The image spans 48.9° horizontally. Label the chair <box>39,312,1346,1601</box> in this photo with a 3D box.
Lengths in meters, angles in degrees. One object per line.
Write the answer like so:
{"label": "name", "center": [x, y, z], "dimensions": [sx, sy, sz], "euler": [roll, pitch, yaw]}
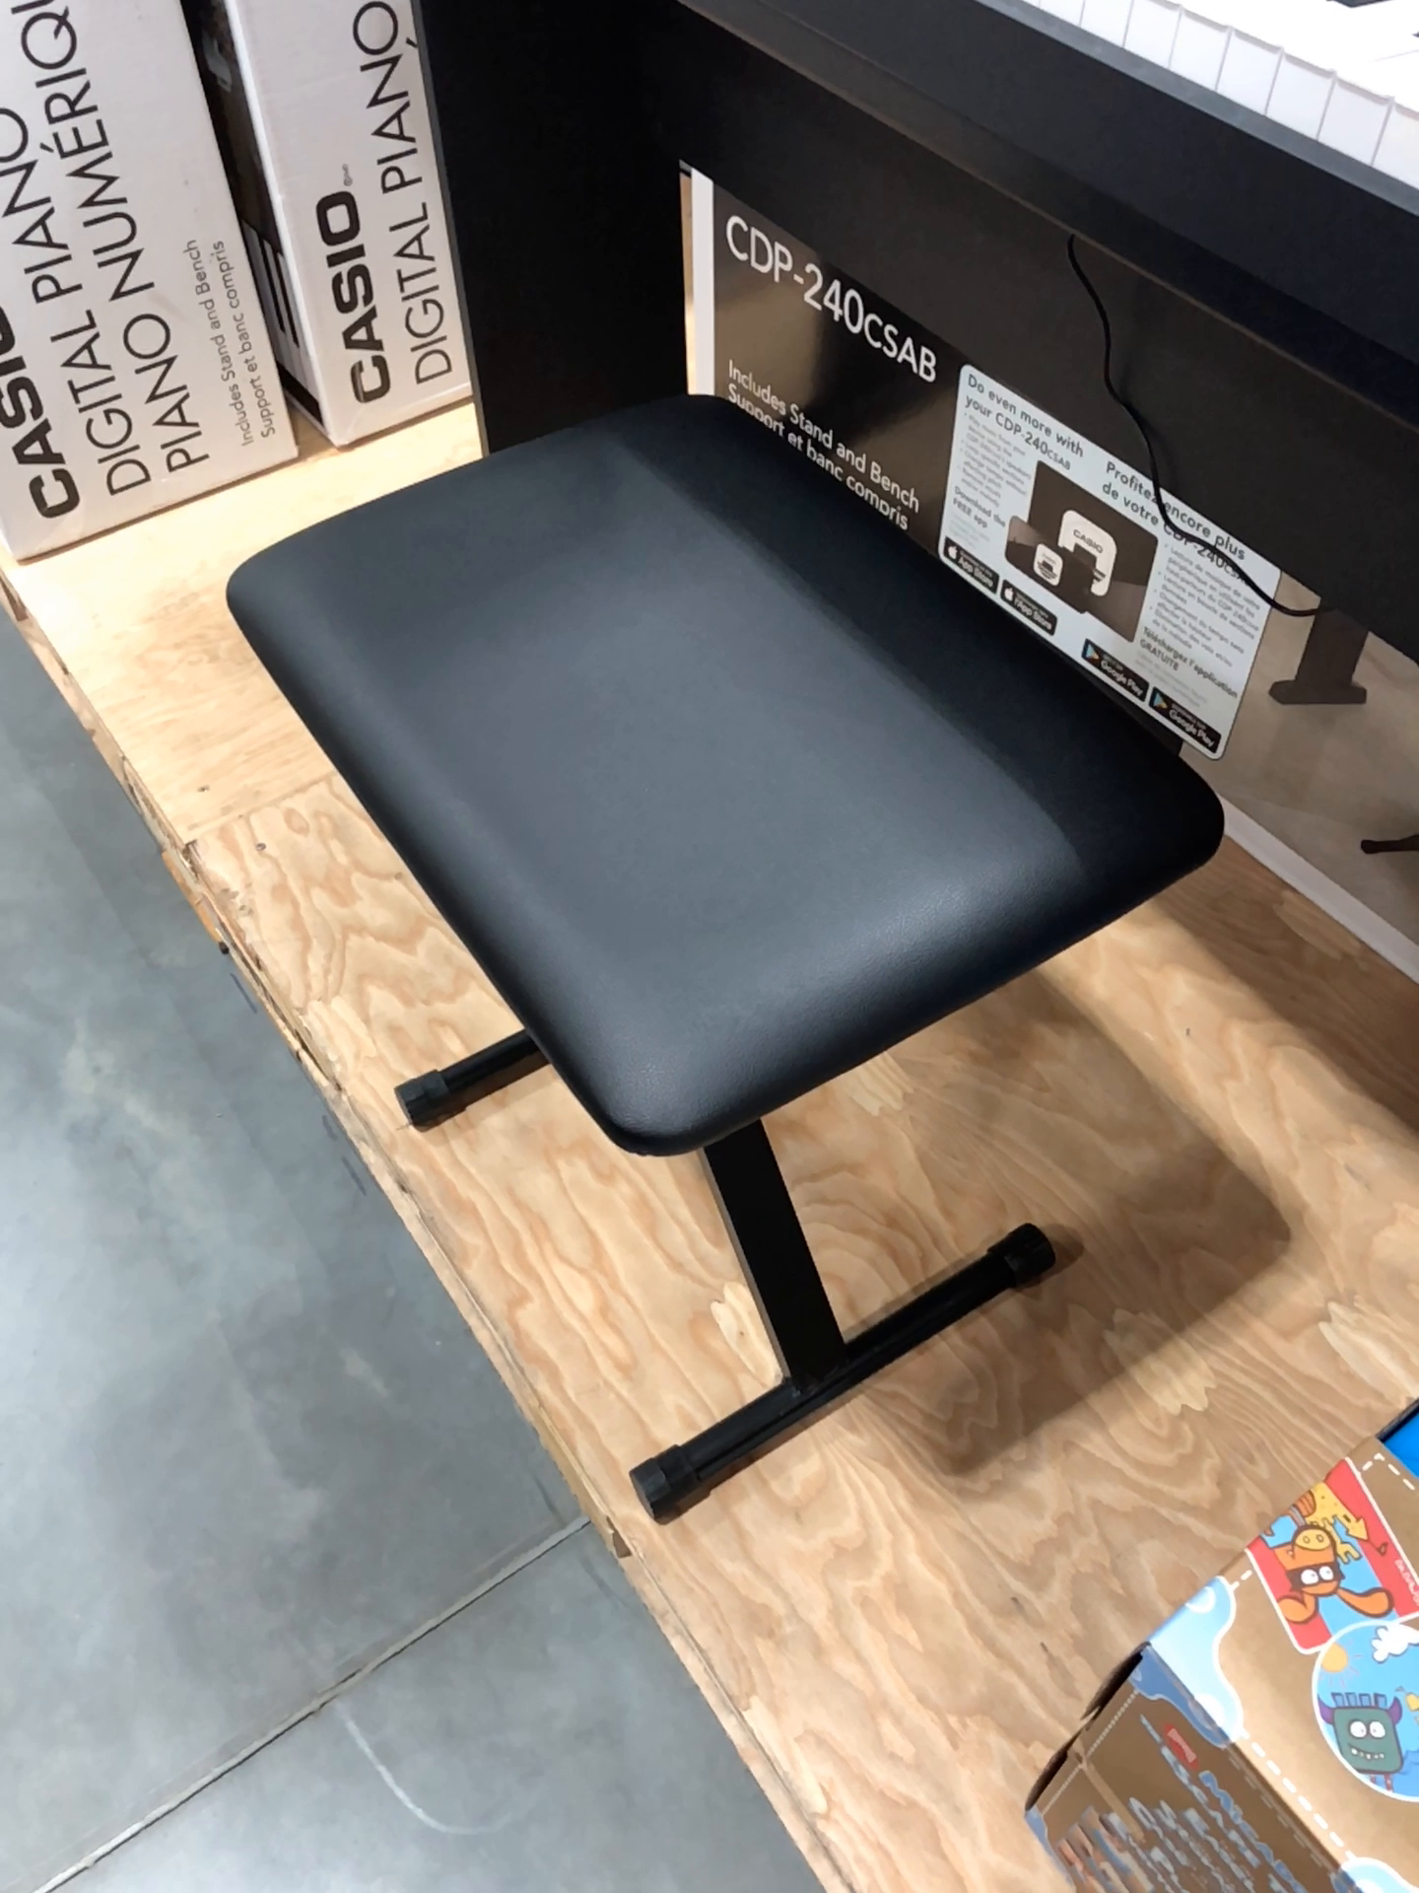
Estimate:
{"label": "chair", "center": [-0.038, -0.034, 0.806], "dimensions": [0.370, 0.279, 0.511], "euler": [-27, 55, -19]}
